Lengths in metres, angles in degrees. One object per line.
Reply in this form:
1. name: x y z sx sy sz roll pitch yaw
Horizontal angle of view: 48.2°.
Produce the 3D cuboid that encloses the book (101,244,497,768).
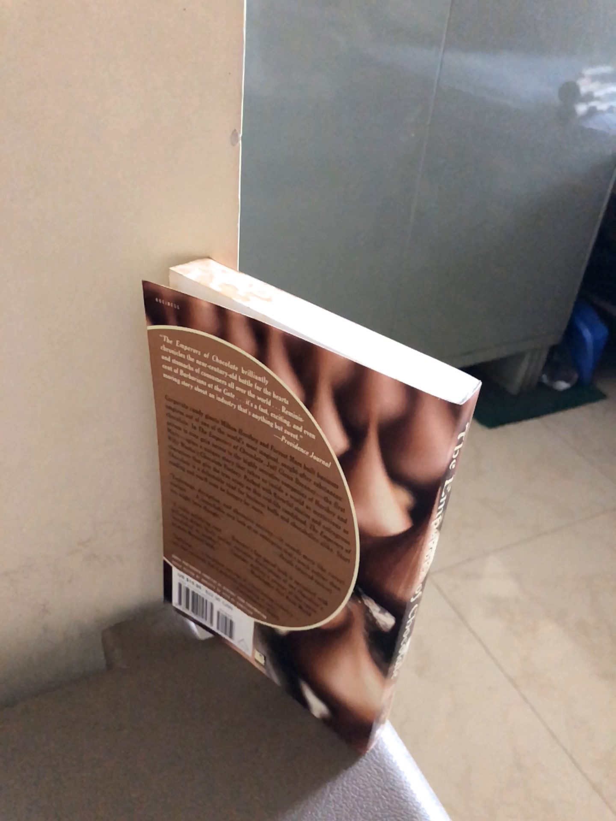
1. book: -0.018 0.046 0.318 0.160 0.199 0.040 27 41 28
